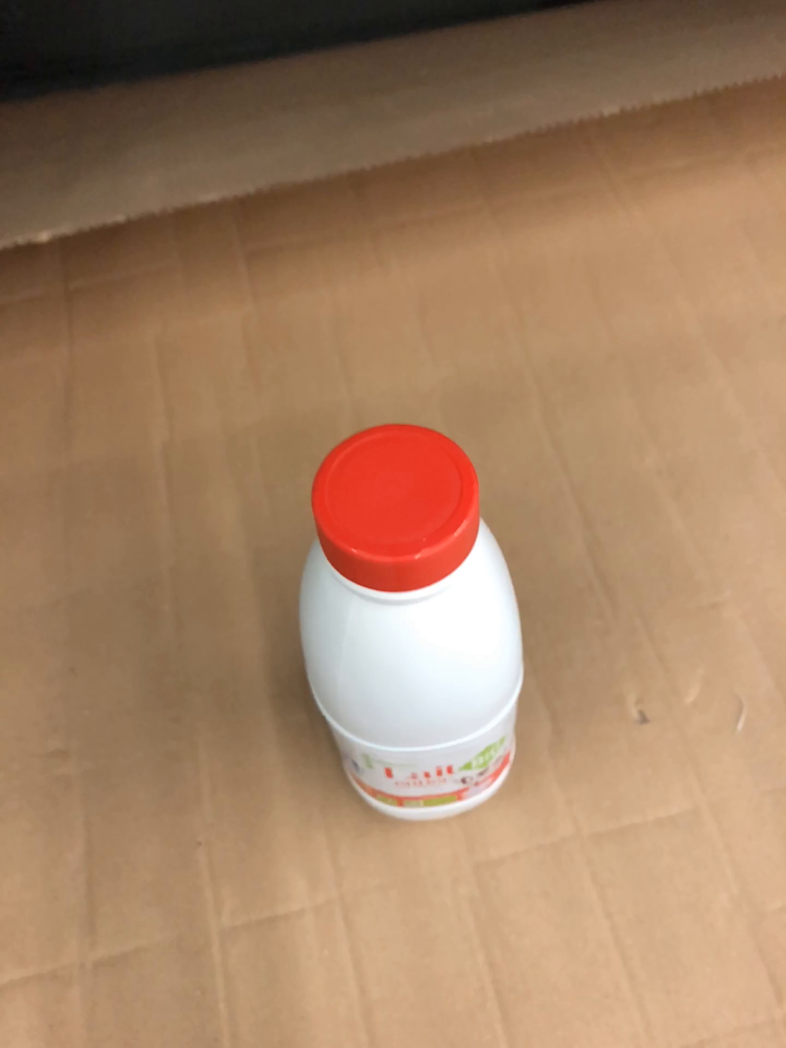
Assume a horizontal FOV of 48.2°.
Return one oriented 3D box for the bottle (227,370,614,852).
[{"bbox_3d":[0.011,0.055,0.344,0.090,0.229,0.080,-14,60,-4],"label":"bottle"}]
